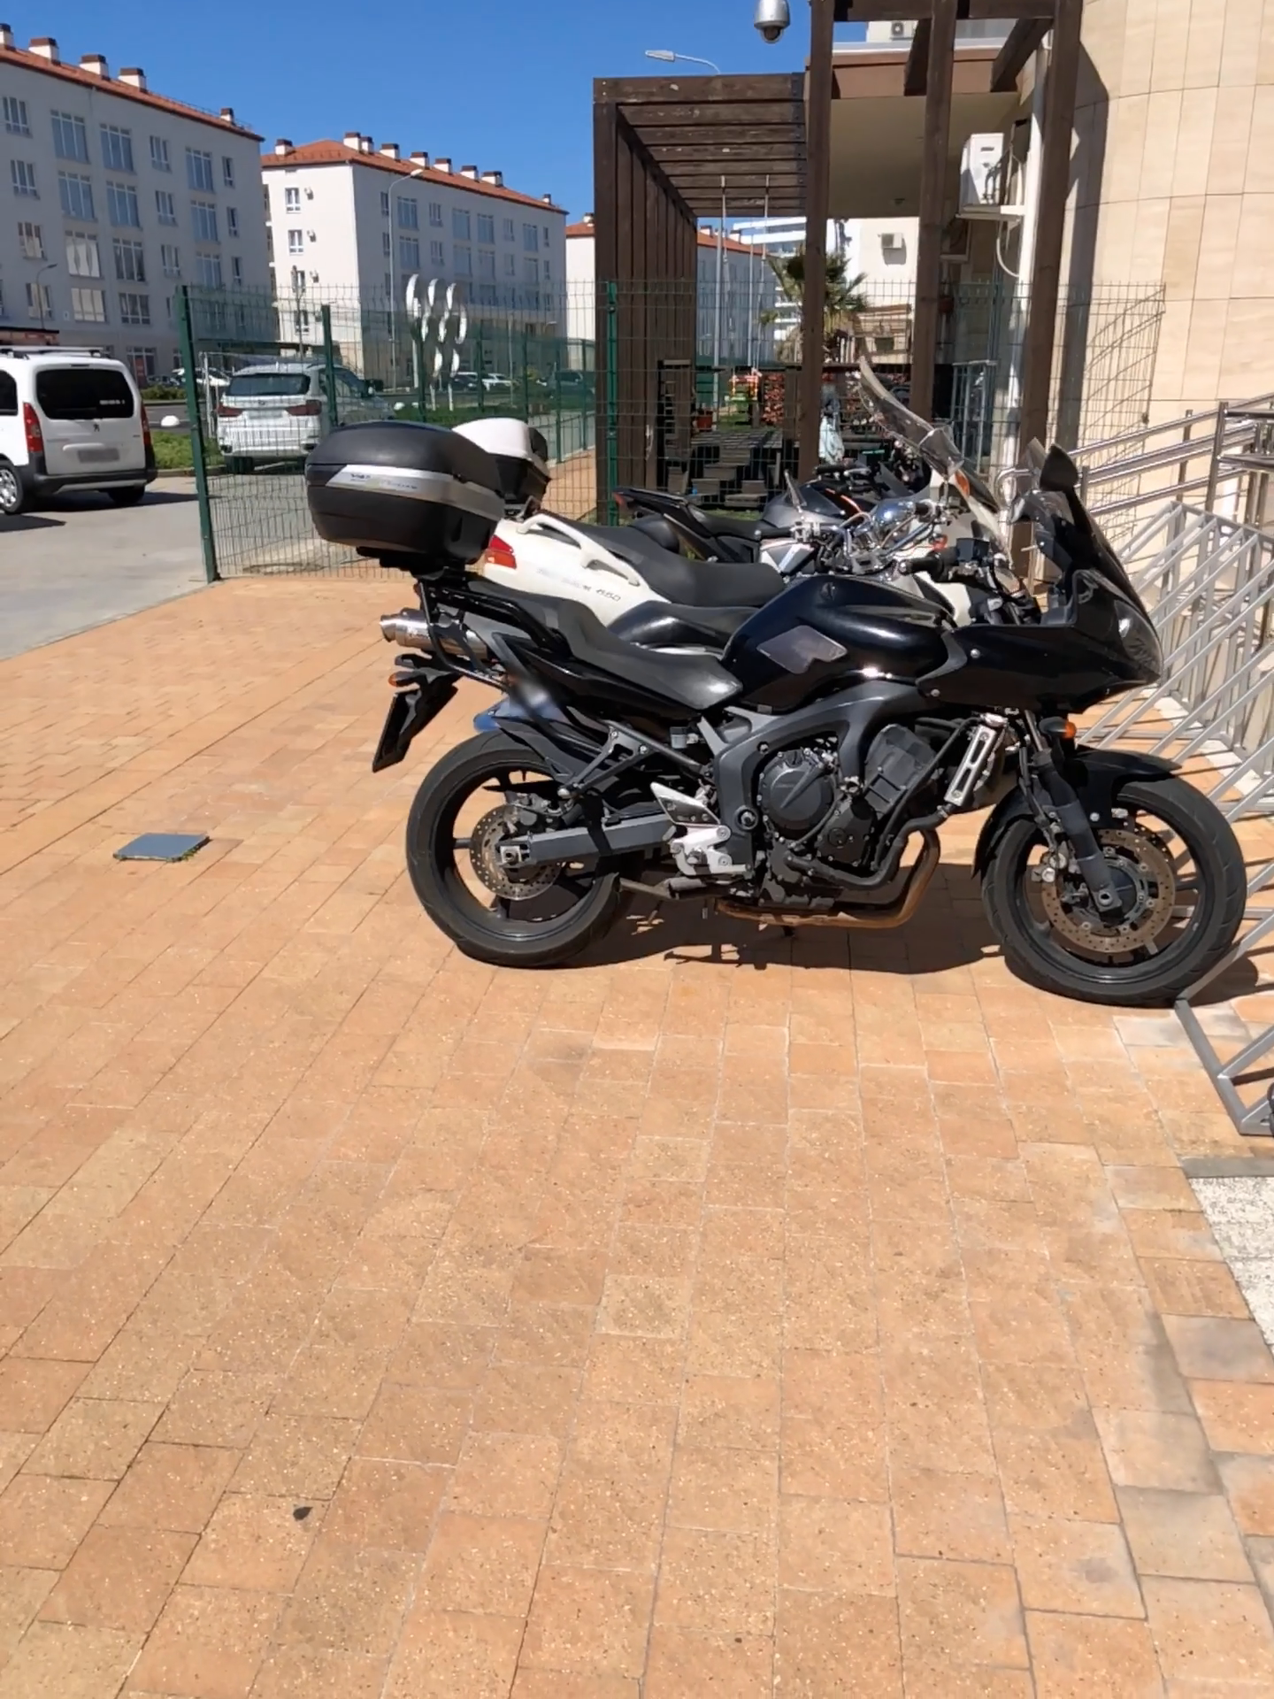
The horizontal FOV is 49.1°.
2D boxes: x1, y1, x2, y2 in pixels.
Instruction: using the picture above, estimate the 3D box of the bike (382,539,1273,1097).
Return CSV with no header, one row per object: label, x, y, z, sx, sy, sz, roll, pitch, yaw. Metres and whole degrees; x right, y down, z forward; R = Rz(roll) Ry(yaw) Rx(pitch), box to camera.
bike,0.411,-0.132,3.048,1.919,1.003,0.607,2,17,9
